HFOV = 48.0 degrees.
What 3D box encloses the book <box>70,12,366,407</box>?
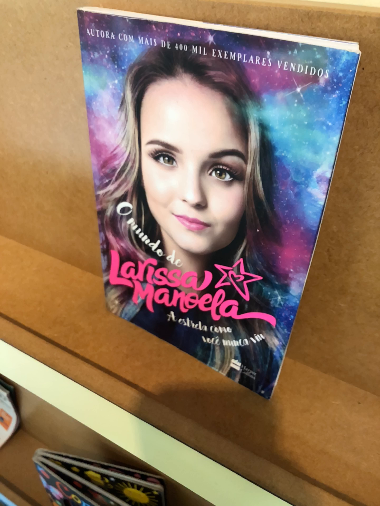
[{"bbox_3d":[0.001,-0.016,0.265,0.150,0.221,0.020,23,41,26],"label":"book"}]
